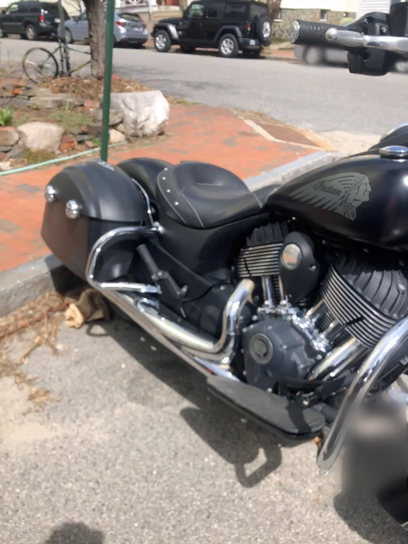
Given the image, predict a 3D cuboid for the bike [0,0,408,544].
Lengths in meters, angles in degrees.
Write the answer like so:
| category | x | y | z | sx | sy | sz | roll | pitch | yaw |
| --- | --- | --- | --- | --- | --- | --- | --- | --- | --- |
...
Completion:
| category | x | y | z | sx | sy | sz | roll | pitch | yaw |
| --- | --- | --- | --- | --- | --- | --- | --- | --- | --- |
| bike | 0.335 | 0.003 | 1.270 | 0.784 | 1.238 | 2.130 | -23 | 34 | -36 |
